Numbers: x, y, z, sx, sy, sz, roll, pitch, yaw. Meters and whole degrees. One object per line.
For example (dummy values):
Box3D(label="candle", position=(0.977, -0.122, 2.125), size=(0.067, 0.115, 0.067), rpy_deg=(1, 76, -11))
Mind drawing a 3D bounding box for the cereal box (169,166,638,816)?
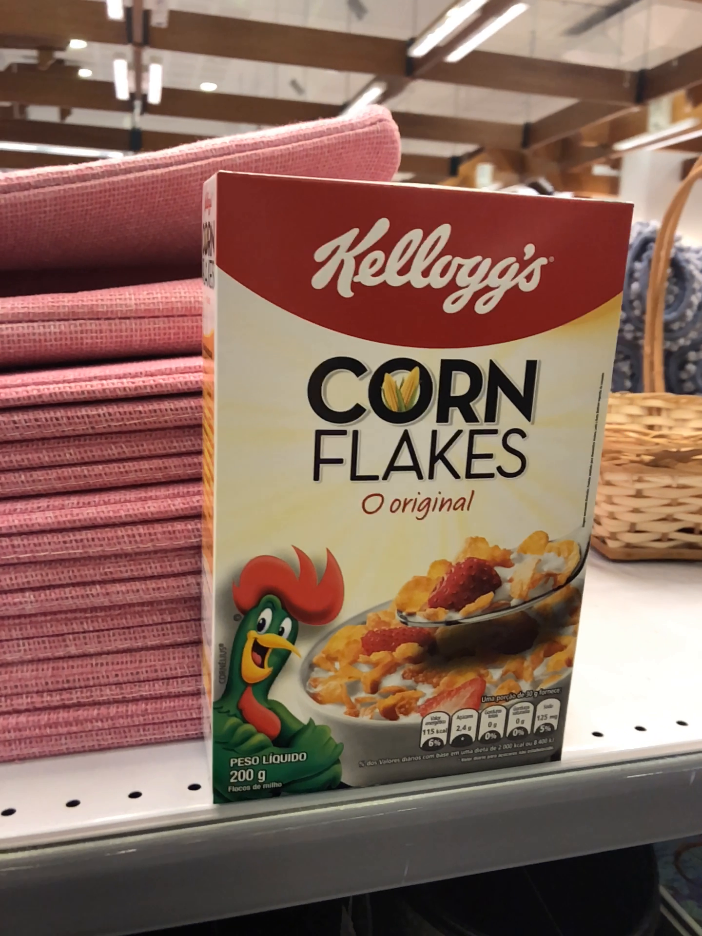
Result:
Box3D(label="cereal box", position=(0.013, 0.012, 0.347), size=(0.180, 0.259, 0.060), rpy_deg=(-1, 15, -15))
